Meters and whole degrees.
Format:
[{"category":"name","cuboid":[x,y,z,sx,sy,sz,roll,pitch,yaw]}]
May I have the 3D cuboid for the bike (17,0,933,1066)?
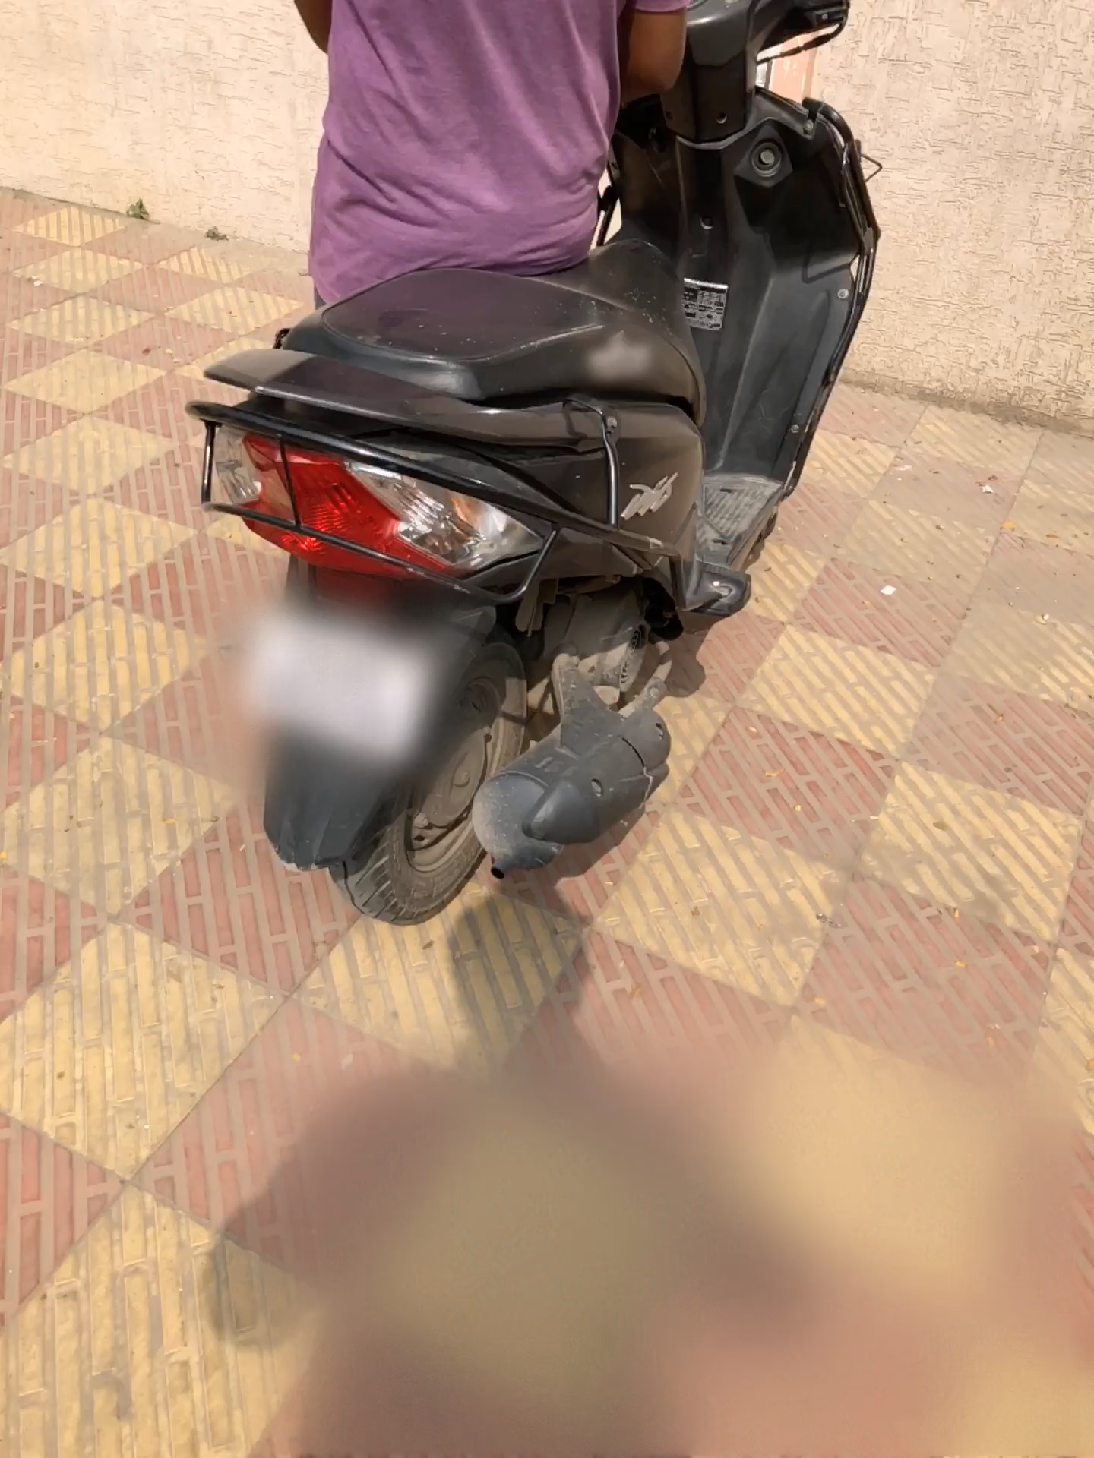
[{"category":"bike","cuboid":[0.083,-0.489,1.761,0.573,0.987,1.516,15,39,15]}]
